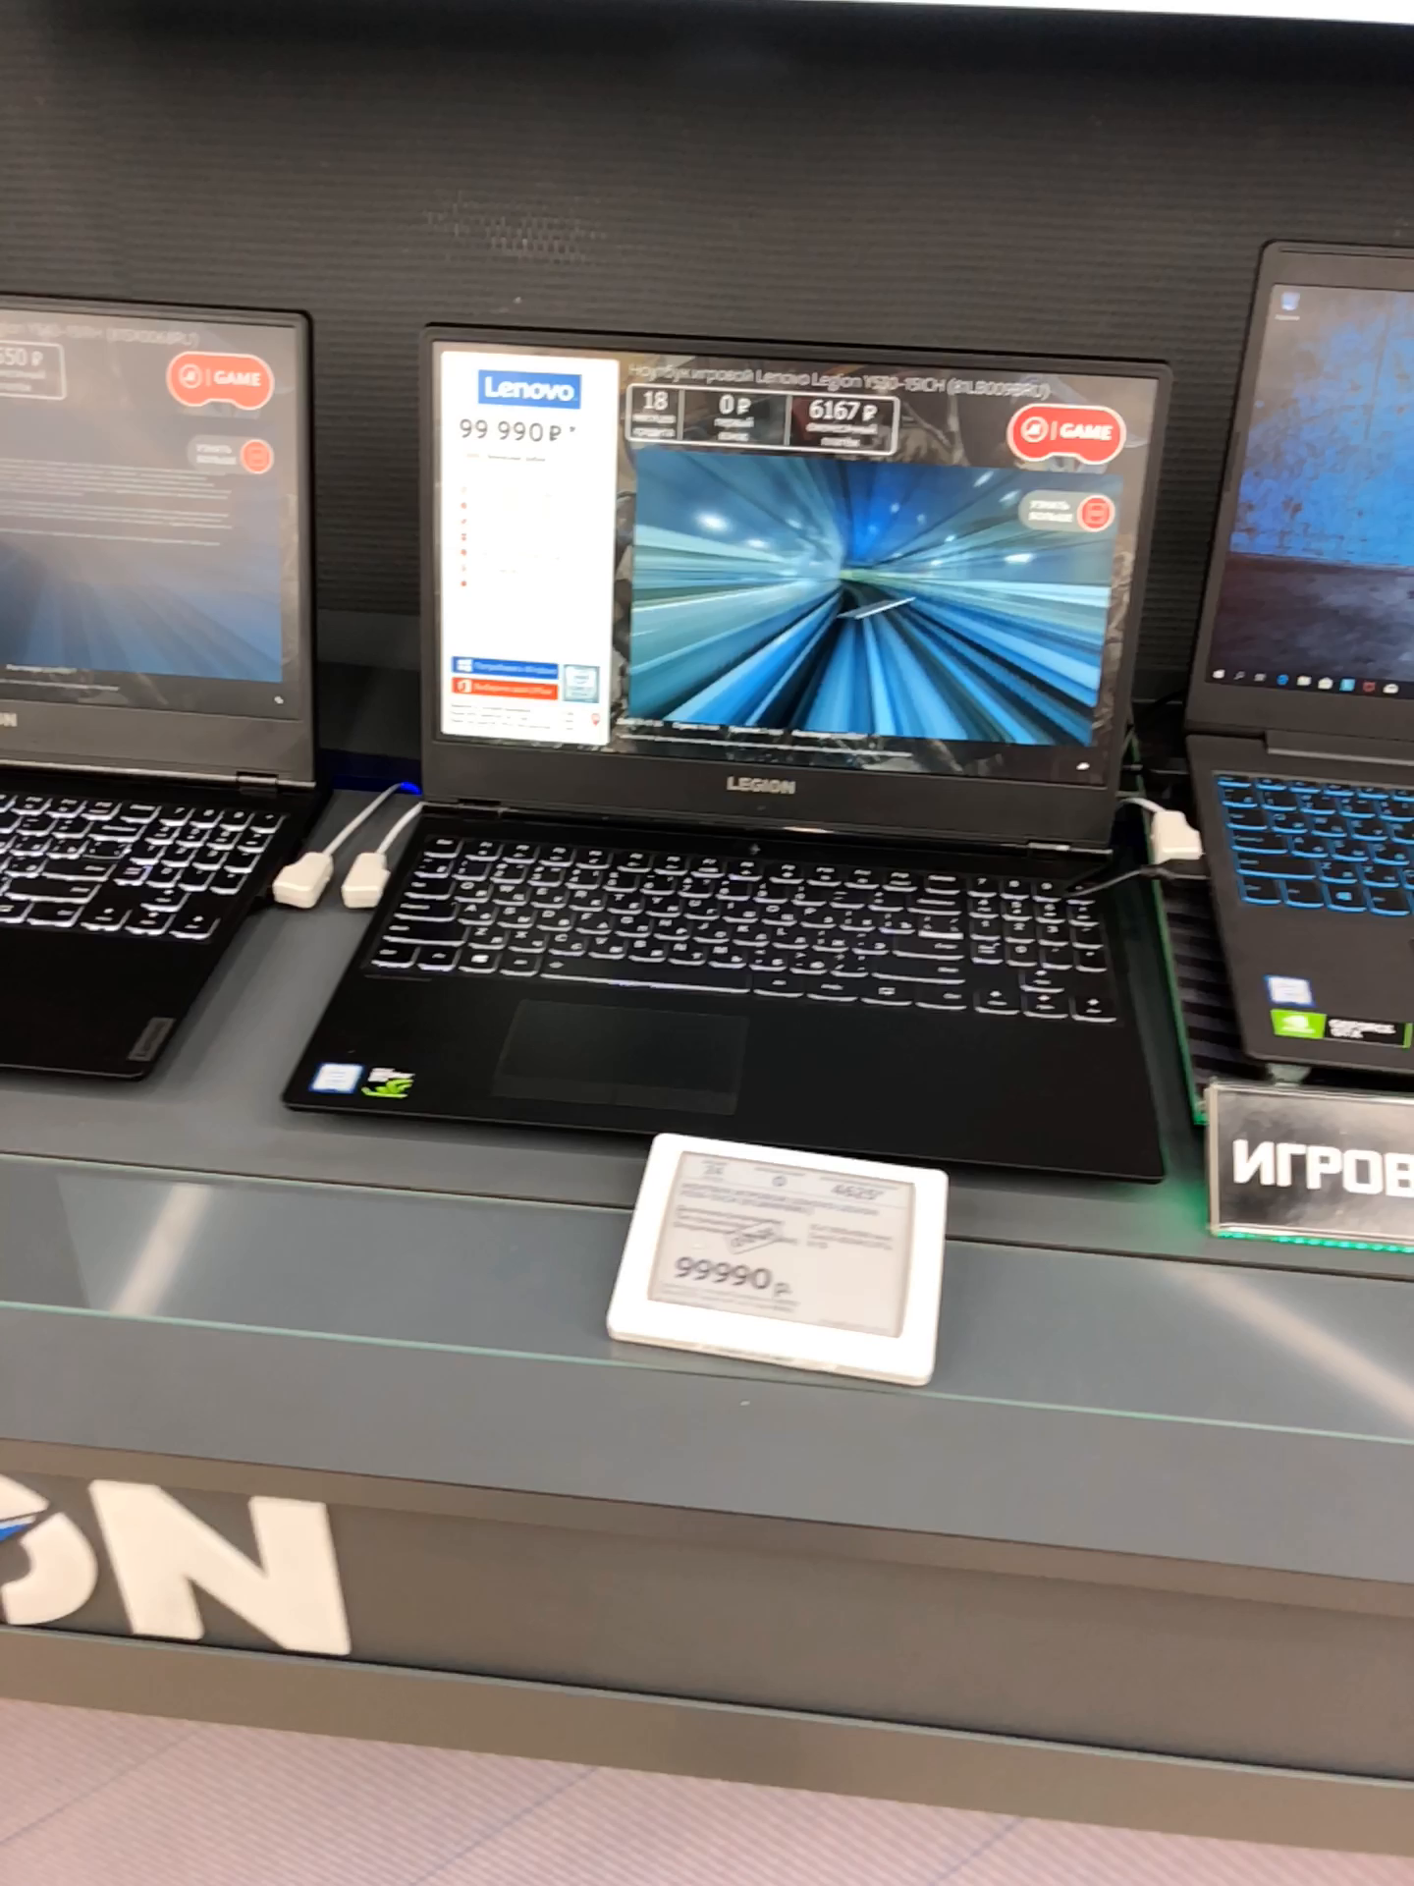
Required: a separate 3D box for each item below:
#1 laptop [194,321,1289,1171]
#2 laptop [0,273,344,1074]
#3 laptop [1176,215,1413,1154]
[{"bbox_3d":[0.022,-0.106,0.678,0.352,0.225,0.302,5,36,5],"label":"laptop"},{"bbox_3d":[-0.393,-0.144,0.714,0.353,0.223,0.316,4,35,2],"label":"laptop"},{"bbox_3d":[0.419,-0.137,0.672,0.354,0.225,0.336,5,39,6],"label":"laptop"}]
